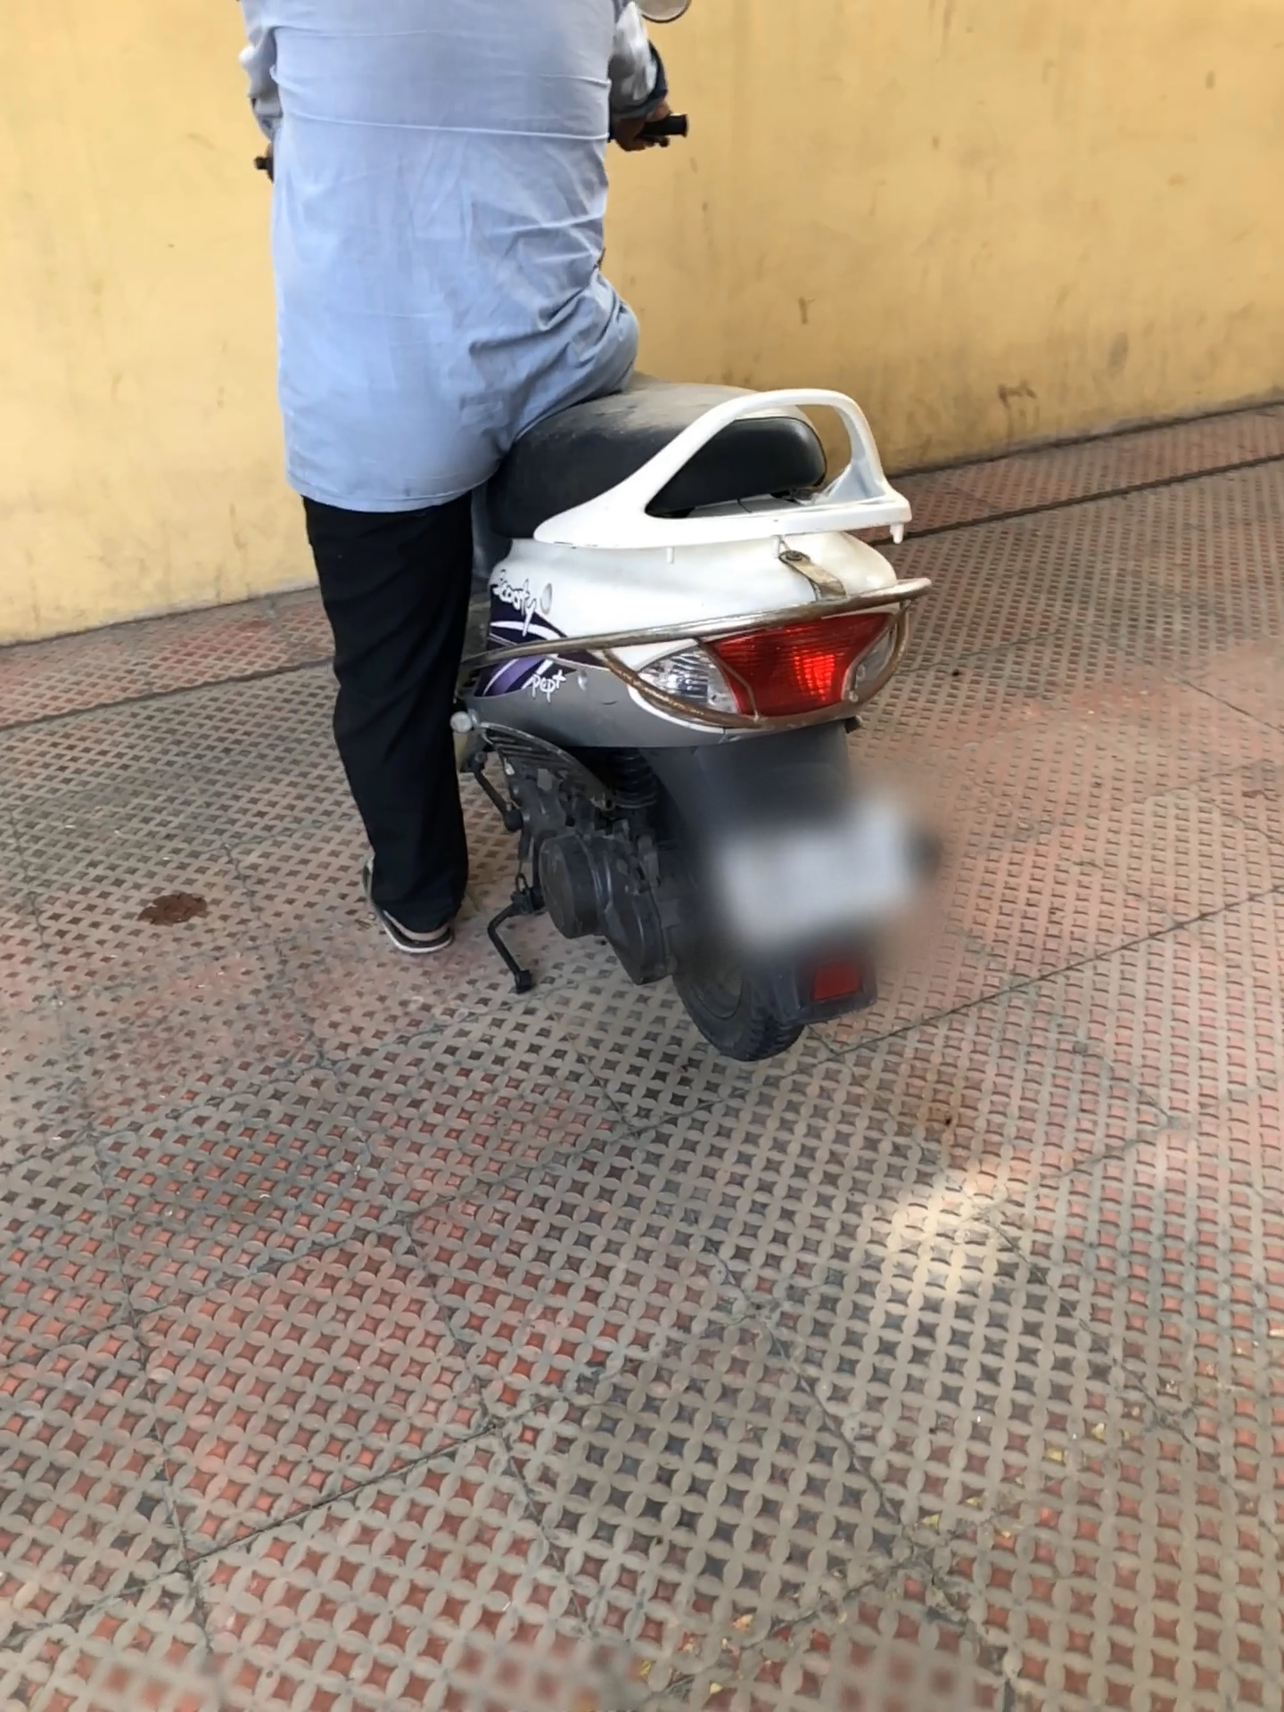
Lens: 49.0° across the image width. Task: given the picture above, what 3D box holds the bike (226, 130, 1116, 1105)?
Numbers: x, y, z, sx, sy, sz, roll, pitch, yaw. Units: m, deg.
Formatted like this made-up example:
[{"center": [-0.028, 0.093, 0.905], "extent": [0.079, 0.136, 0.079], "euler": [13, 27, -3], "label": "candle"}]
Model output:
[{"center": [-0.132, -0.523, 2.056], "extent": [0.600, 0.816, 1.616], "euler": [-13, 34, -17], "label": "bike"}]
